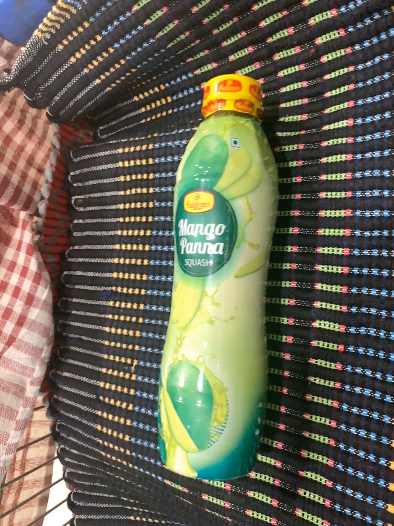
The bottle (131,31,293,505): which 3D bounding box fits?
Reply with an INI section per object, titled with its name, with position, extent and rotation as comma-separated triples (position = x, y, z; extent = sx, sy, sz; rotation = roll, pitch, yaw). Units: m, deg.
[bottle]
position = 0.013, -0.002, 0.271
extent = 0.070, 0.050, 0.270
rotation = 3, 85, 29
